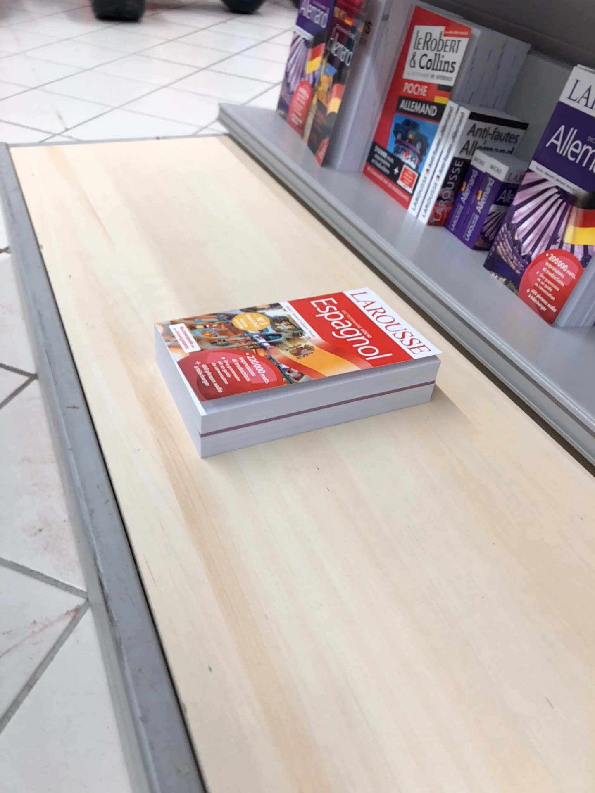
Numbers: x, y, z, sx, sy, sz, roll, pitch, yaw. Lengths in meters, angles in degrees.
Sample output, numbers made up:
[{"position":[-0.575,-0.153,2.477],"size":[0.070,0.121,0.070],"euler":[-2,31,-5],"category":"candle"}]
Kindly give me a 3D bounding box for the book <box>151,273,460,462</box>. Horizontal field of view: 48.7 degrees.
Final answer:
[{"position":[0.002,-0.029,0.467],"size":[0.183,0.044,0.117],"euler":[-12,43,-22],"category":"book"}]
